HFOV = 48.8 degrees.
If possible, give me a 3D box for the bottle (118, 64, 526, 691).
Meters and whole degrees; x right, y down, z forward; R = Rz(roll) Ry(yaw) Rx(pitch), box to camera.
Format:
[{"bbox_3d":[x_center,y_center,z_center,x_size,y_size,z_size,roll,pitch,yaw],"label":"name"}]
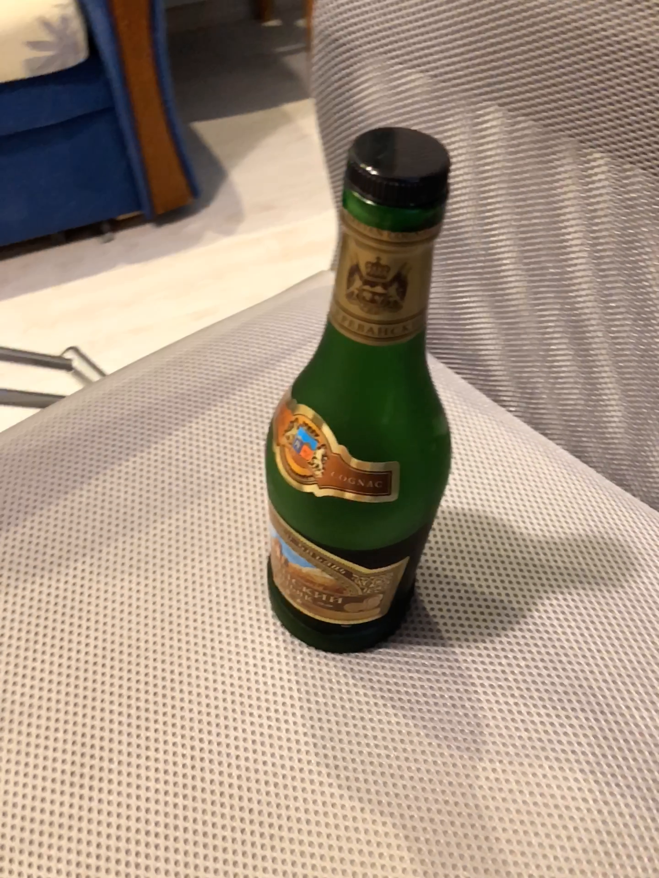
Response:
[{"bbox_3d":[0.001,0.002,0.282,0.074,0.239,0.078,-1,51,2],"label":"bottle"}]
